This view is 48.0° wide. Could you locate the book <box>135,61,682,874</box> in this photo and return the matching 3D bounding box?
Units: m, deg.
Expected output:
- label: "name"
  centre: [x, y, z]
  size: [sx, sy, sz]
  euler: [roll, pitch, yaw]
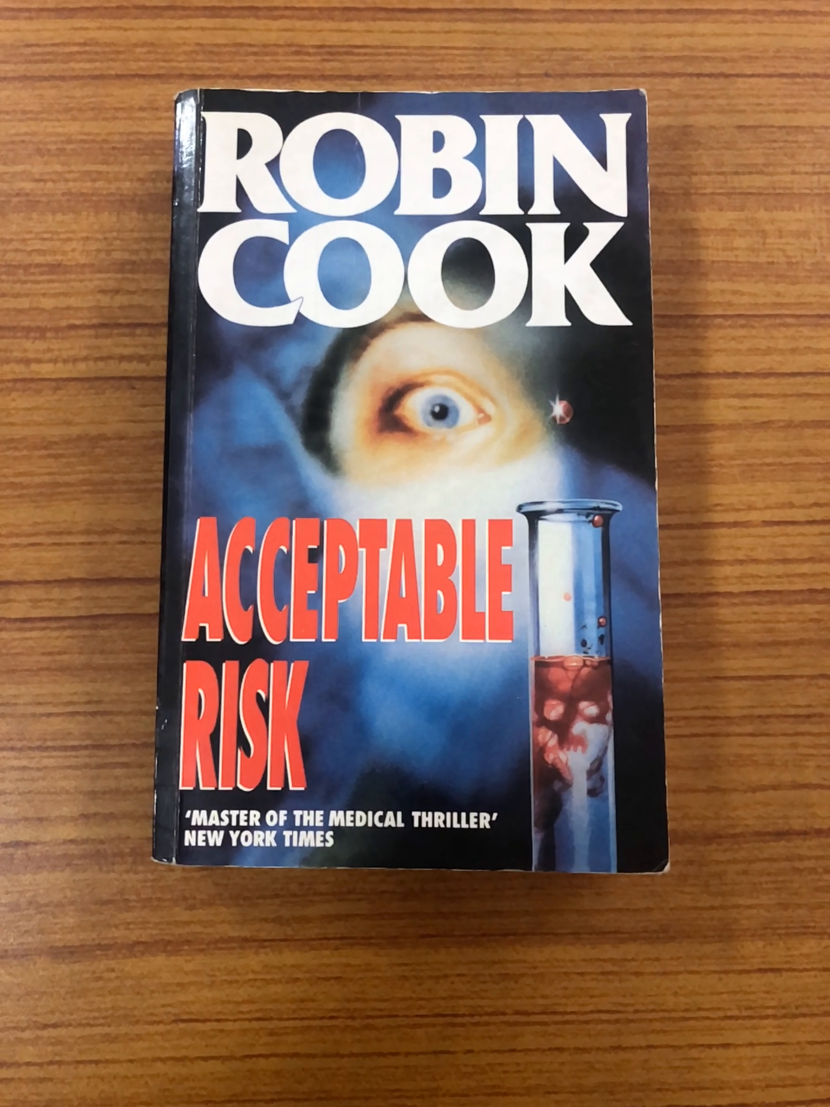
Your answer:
- label: "book"
  centre: [0.001, -0.019, 0.215]
  size: [0.110, 0.040, 0.170]
  euler: [1, 84, -1]
